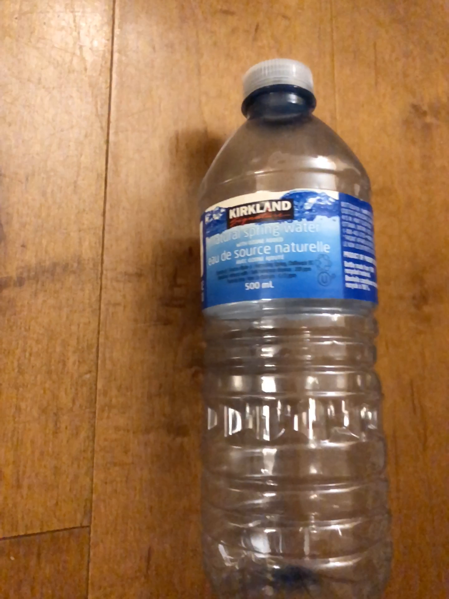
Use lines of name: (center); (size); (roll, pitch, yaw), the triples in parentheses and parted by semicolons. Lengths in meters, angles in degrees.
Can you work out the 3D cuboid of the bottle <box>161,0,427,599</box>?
bottle: (0.023, 0.000, 0.189); (0.070, 0.070, 0.200); (33, 54, -72)
